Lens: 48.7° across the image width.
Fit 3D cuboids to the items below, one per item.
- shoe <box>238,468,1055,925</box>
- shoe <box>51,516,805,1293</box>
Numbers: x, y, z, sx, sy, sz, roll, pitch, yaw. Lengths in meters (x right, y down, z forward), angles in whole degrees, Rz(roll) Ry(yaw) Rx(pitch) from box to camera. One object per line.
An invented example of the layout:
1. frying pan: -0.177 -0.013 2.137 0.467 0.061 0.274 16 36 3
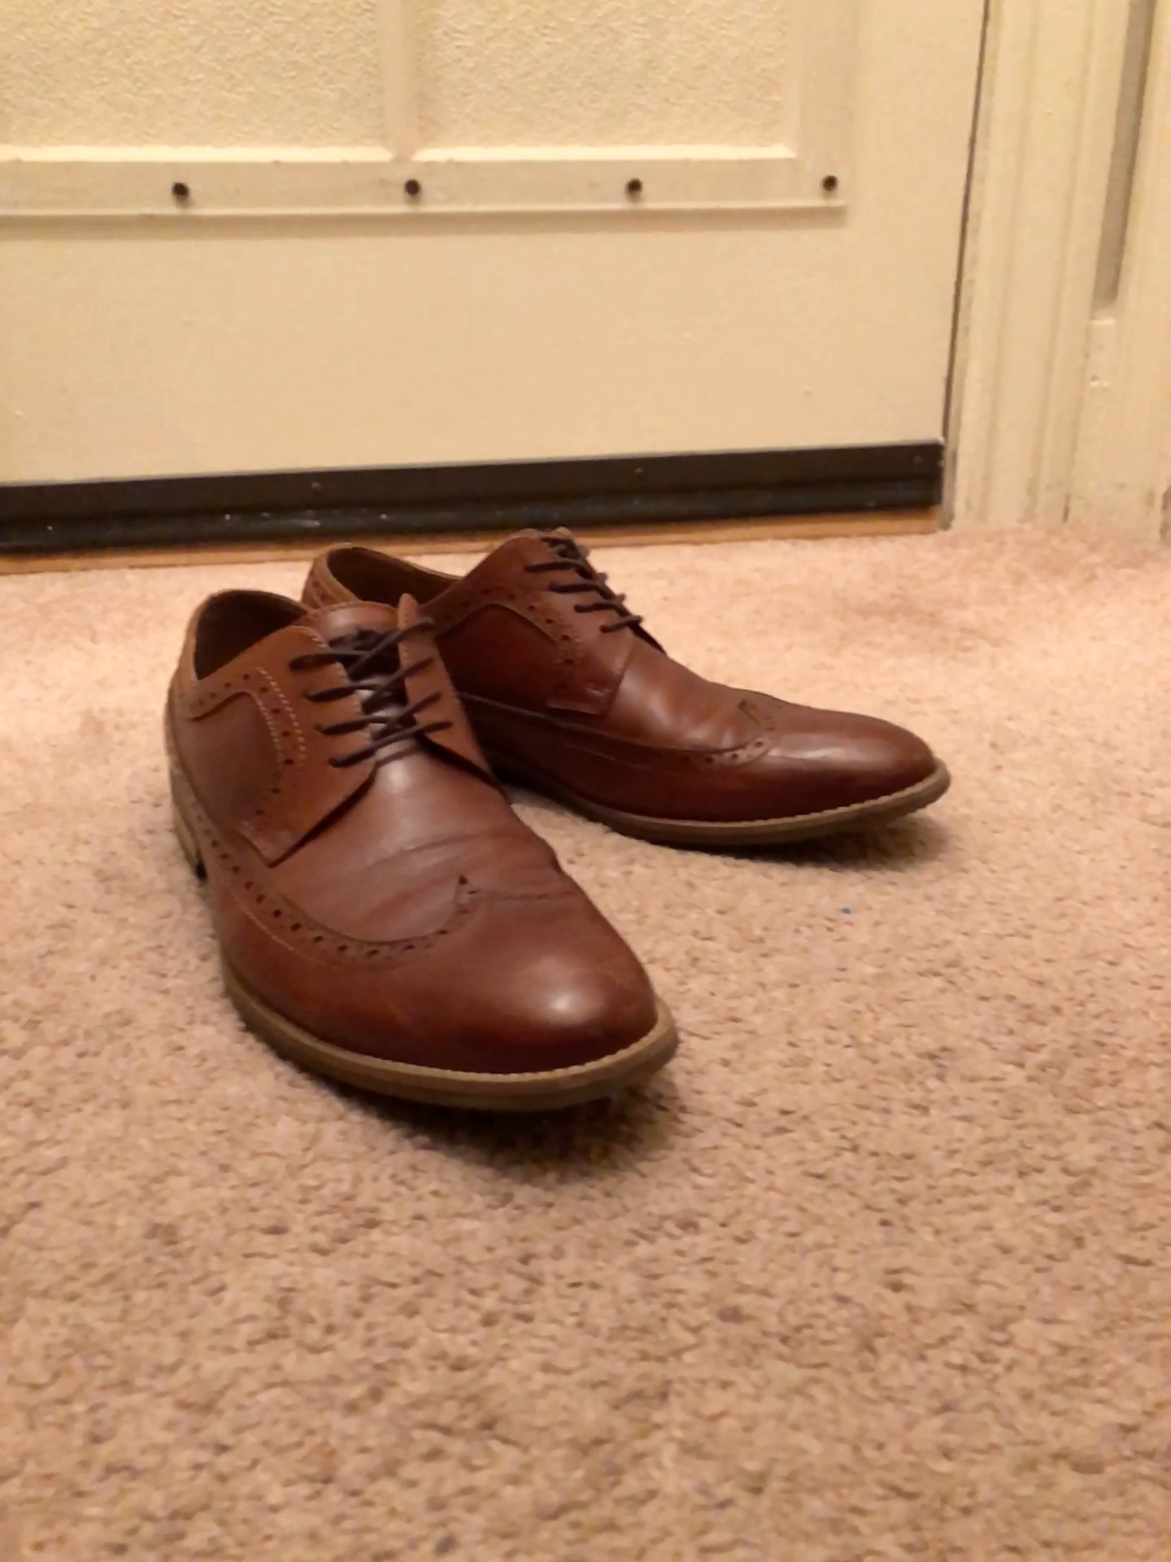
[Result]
1. shoe: 0.017 -0.052 0.542 0.310 0.114 0.116 12 26 27
2. shoe: -0.077 0.003 0.430 0.115 0.114 0.311 -14 27 -29
